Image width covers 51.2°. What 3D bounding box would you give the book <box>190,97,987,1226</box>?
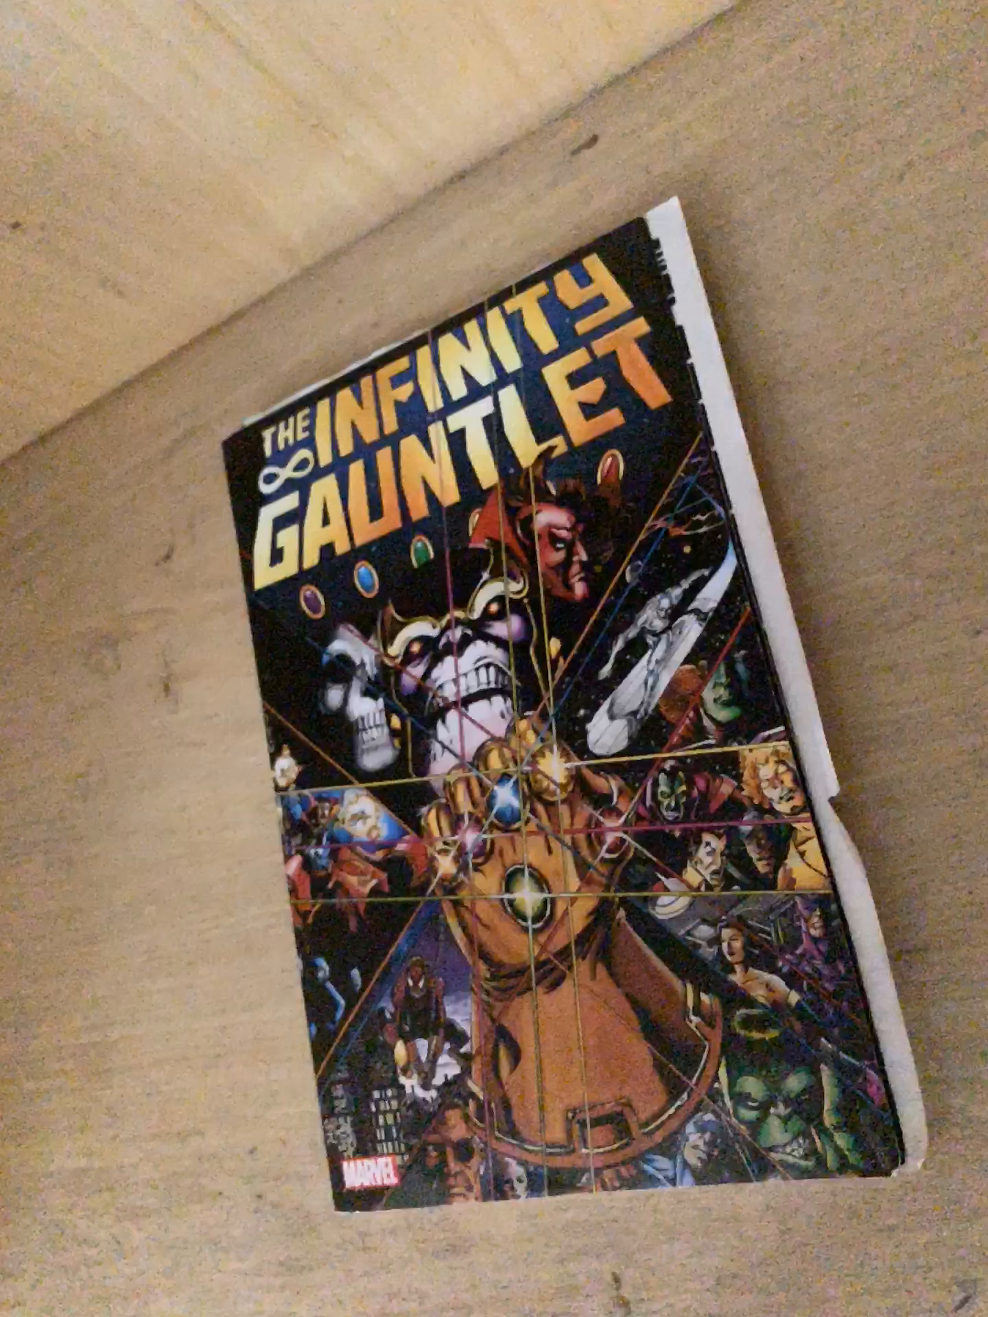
[{"bbox_3d":[0.004,0.006,0.297,0.190,0.030,0.271,-20,72,28],"label":"book"}]
